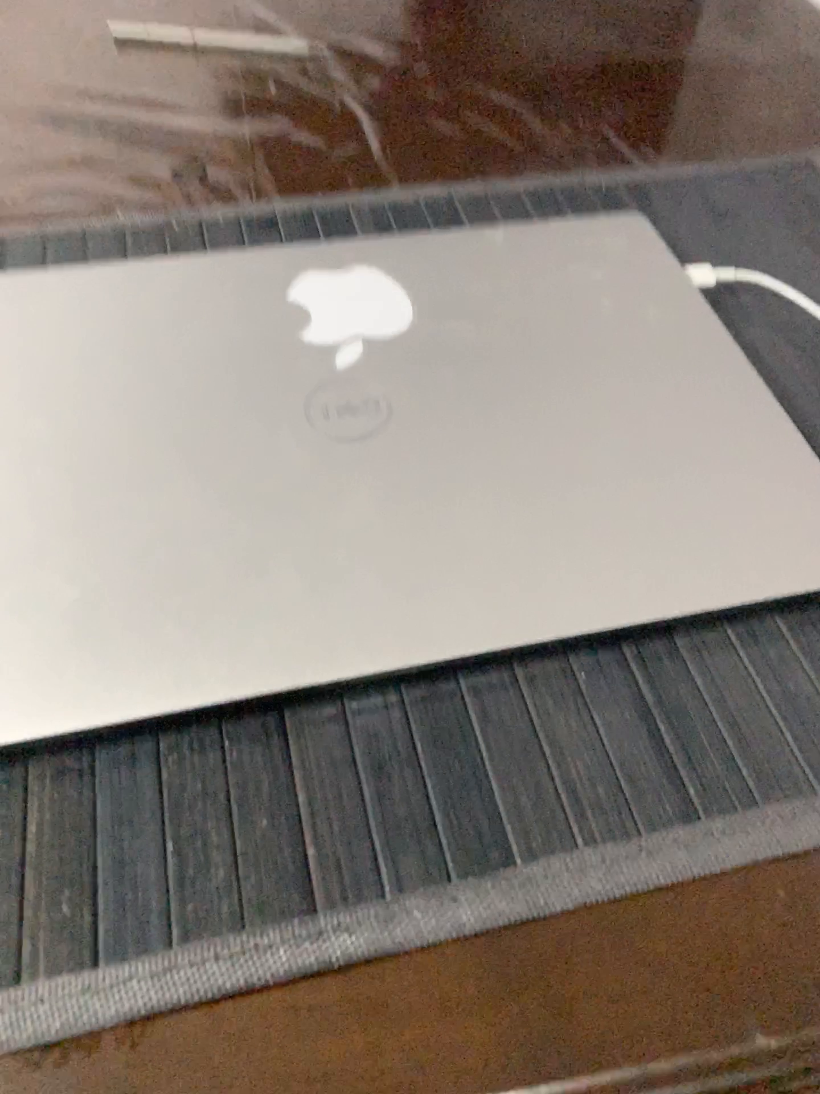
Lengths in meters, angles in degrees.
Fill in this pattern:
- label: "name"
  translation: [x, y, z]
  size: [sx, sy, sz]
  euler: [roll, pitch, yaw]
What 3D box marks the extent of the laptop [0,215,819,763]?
- label: "laptop"
  translation: [-0.010, -0.045, 0.277]
  size: [0.271, 0.001, 0.189]
  euler: [-10, 53, -10]
